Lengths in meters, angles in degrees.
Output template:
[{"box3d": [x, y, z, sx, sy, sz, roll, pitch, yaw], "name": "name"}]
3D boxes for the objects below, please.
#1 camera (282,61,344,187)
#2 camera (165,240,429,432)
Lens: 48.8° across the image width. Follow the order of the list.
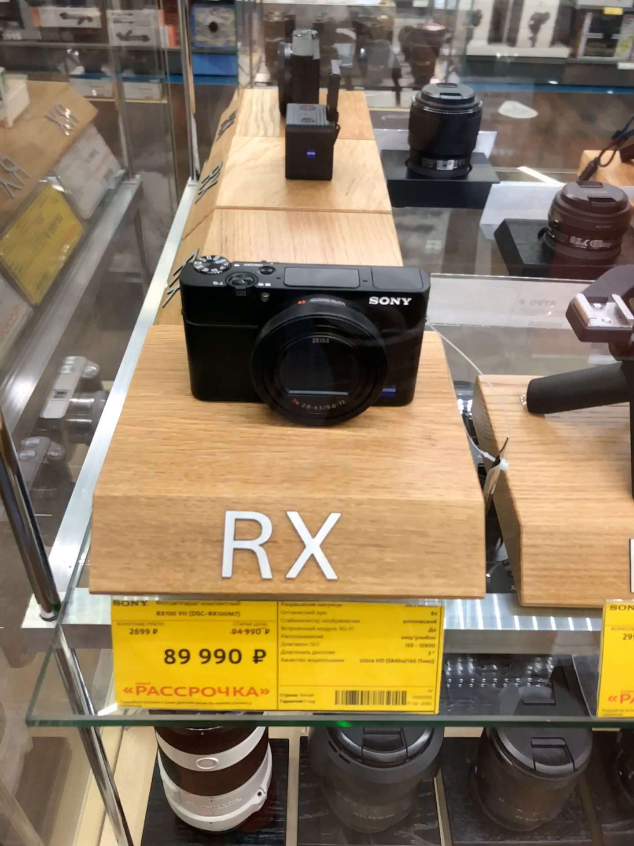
[{"box3d": [-0.004, -0.211, 0.494, 0.040, 0.070, 0.052, 0, 39, -2], "name": "camera"}, {"box3d": [-0.008, -0.037, 0.302, 0.100, 0.070, 0.040, 1, 39, -1], "name": "camera"}]
